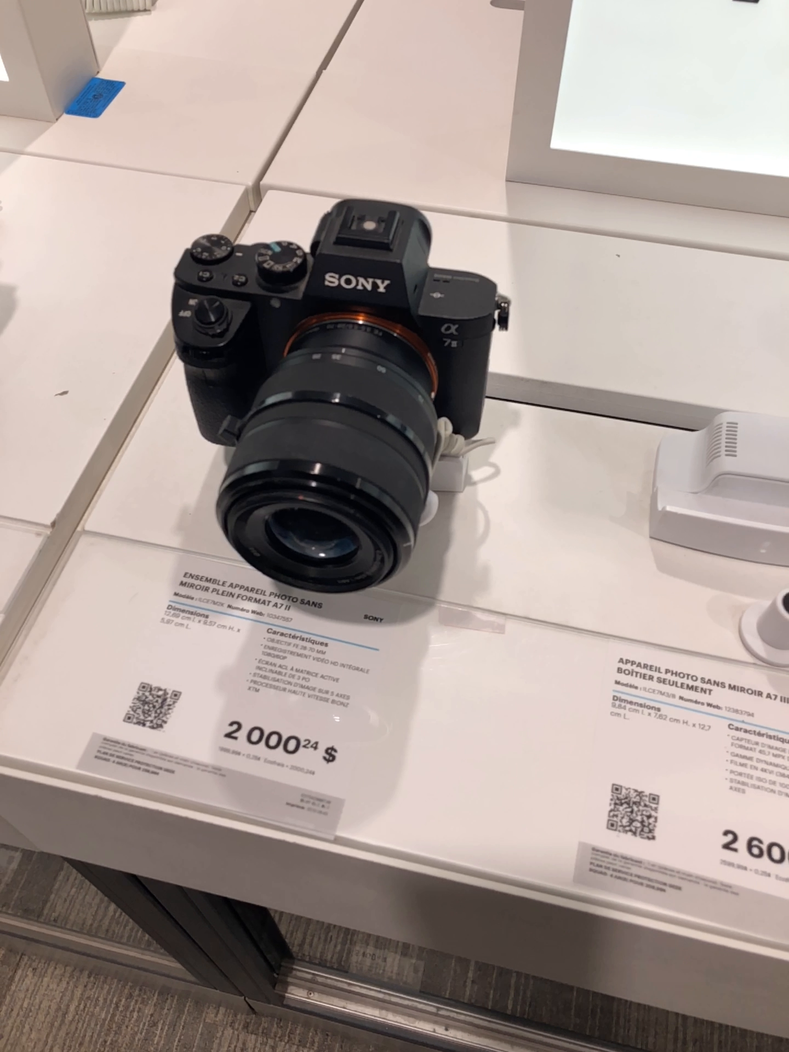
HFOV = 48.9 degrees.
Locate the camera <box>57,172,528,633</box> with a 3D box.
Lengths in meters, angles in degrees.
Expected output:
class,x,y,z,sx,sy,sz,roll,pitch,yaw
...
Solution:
class,x,y,z,sx,sy,sz,roll,pitch,yaw
camera,-0.026,-0.050,0.338,0.134,0.099,0.131,8,54,6
